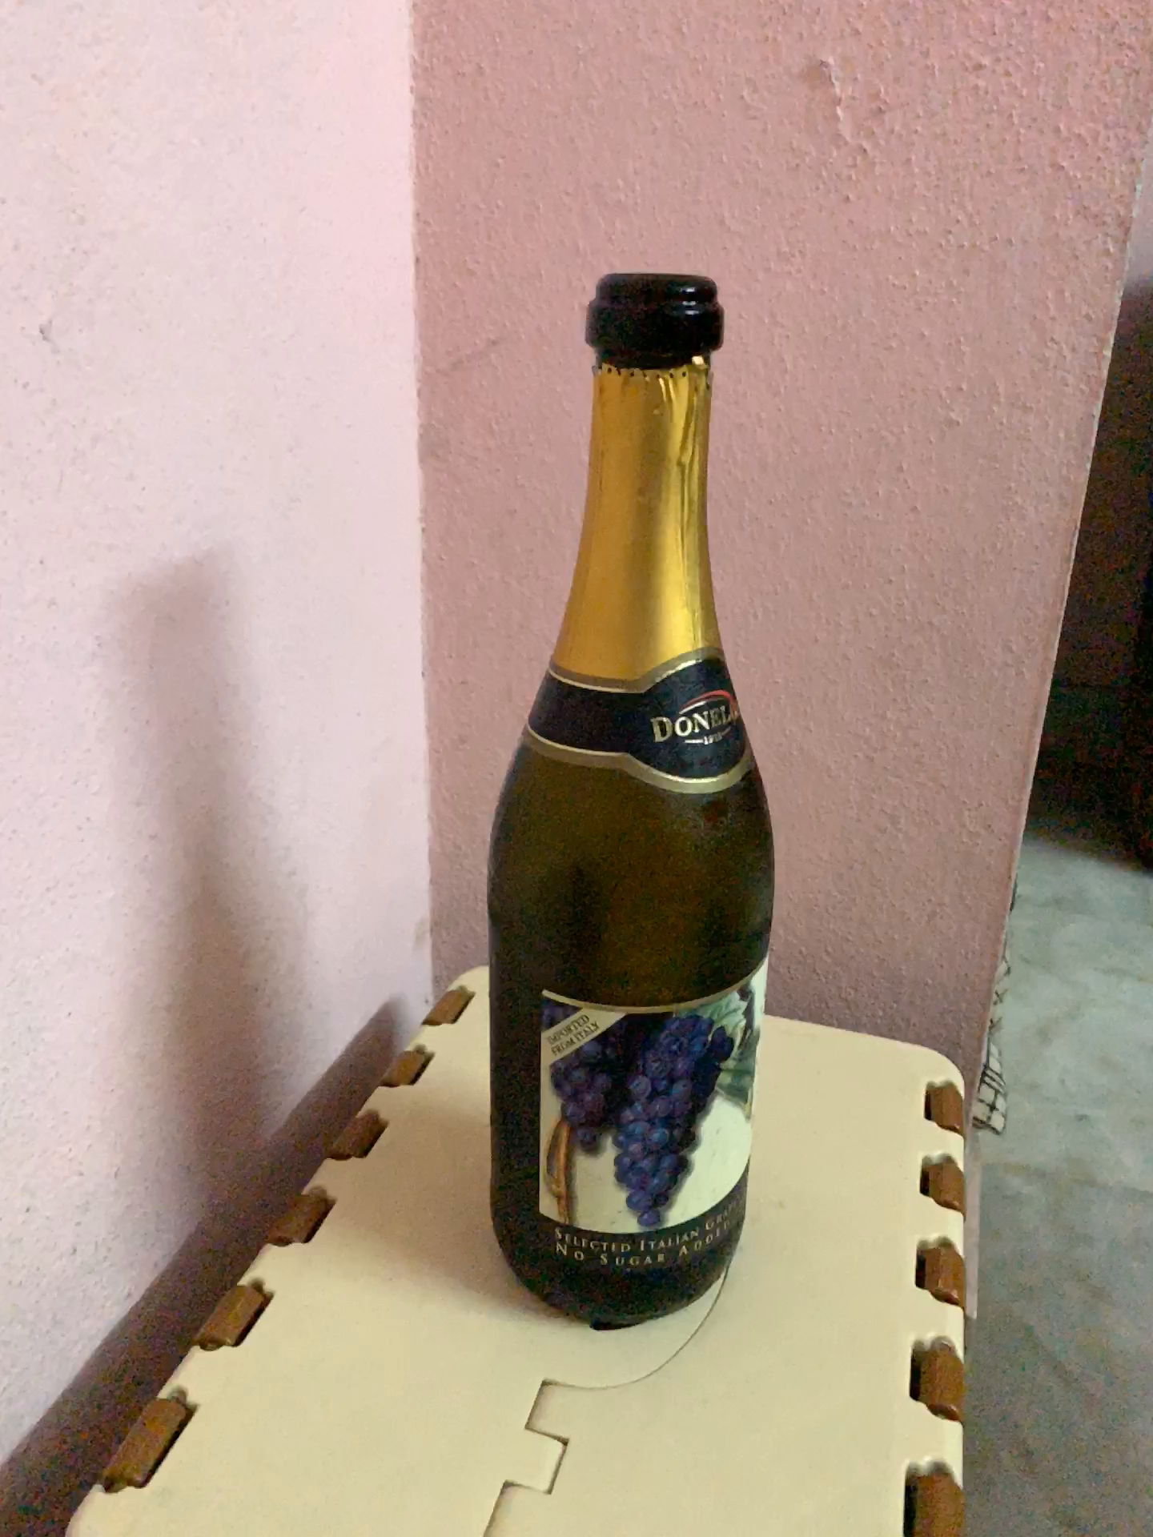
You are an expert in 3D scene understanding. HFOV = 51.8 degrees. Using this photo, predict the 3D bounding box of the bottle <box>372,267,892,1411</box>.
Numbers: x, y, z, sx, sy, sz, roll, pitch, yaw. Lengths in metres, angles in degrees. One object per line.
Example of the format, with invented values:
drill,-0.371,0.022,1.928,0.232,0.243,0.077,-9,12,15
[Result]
bottle,0.010,0.020,0.313,0.090,0.279,0.070,-18,30,-39
